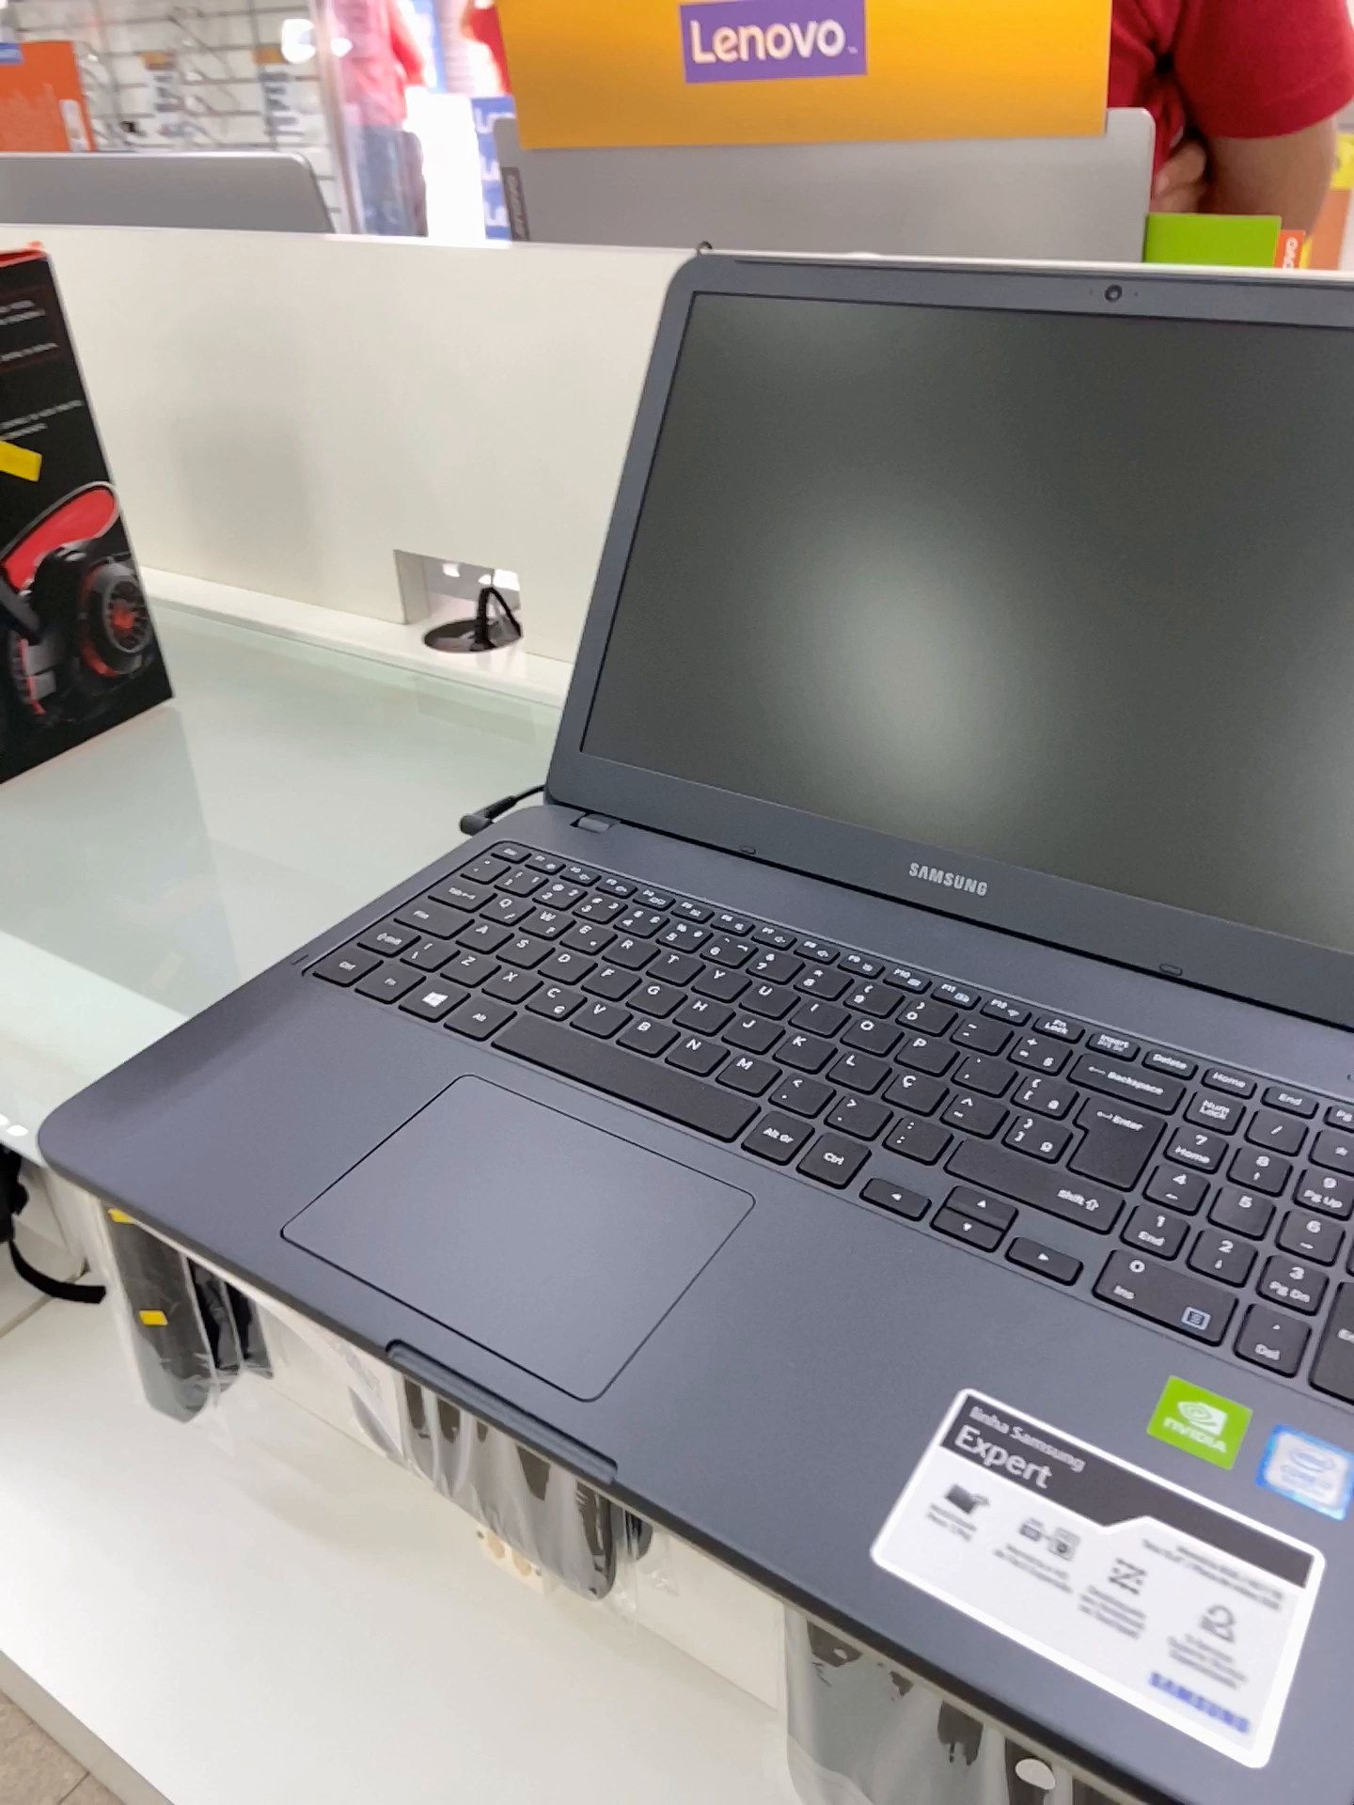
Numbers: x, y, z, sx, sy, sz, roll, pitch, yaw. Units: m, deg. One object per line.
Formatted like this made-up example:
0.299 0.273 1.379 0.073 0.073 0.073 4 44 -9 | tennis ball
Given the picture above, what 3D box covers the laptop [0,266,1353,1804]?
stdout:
0.058 -0.052 0.409 0.371 0.192 0.370 17 37 30 | laptop
